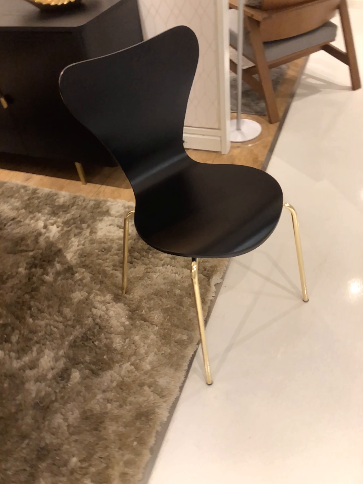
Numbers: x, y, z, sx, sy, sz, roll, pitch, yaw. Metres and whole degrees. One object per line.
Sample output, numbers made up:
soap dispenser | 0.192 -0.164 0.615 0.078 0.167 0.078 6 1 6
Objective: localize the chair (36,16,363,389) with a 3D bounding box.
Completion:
chair | 0.060 -0.107 1.109 0.501 0.754 0.503 -33 49 -24
